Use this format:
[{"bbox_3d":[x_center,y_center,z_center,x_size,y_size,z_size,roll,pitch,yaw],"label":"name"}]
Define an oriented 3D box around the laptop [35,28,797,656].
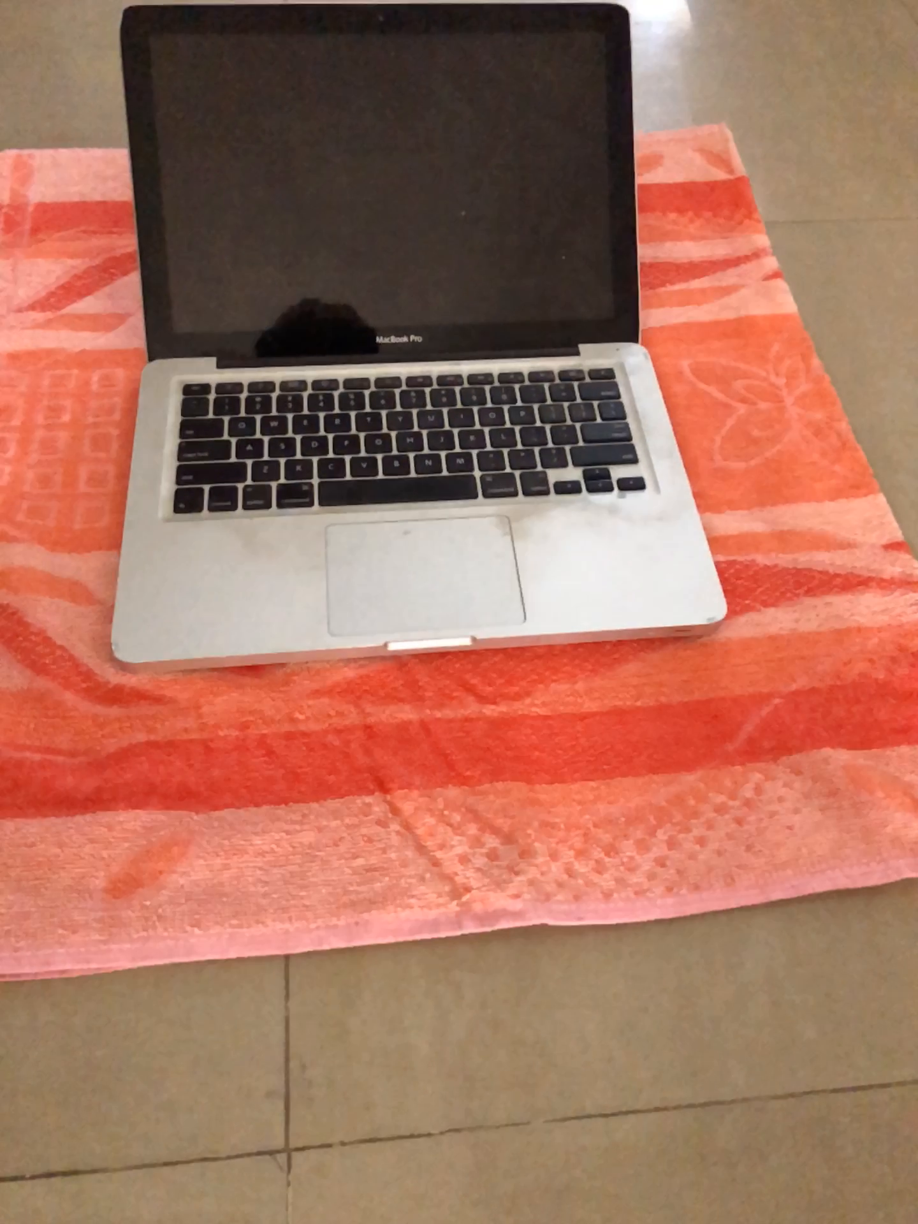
[{"bbox_3d":[-0.033,-0.176,0.574,0.309,0.133,0.374,-4,54,-6],"label":"laptop"}]
